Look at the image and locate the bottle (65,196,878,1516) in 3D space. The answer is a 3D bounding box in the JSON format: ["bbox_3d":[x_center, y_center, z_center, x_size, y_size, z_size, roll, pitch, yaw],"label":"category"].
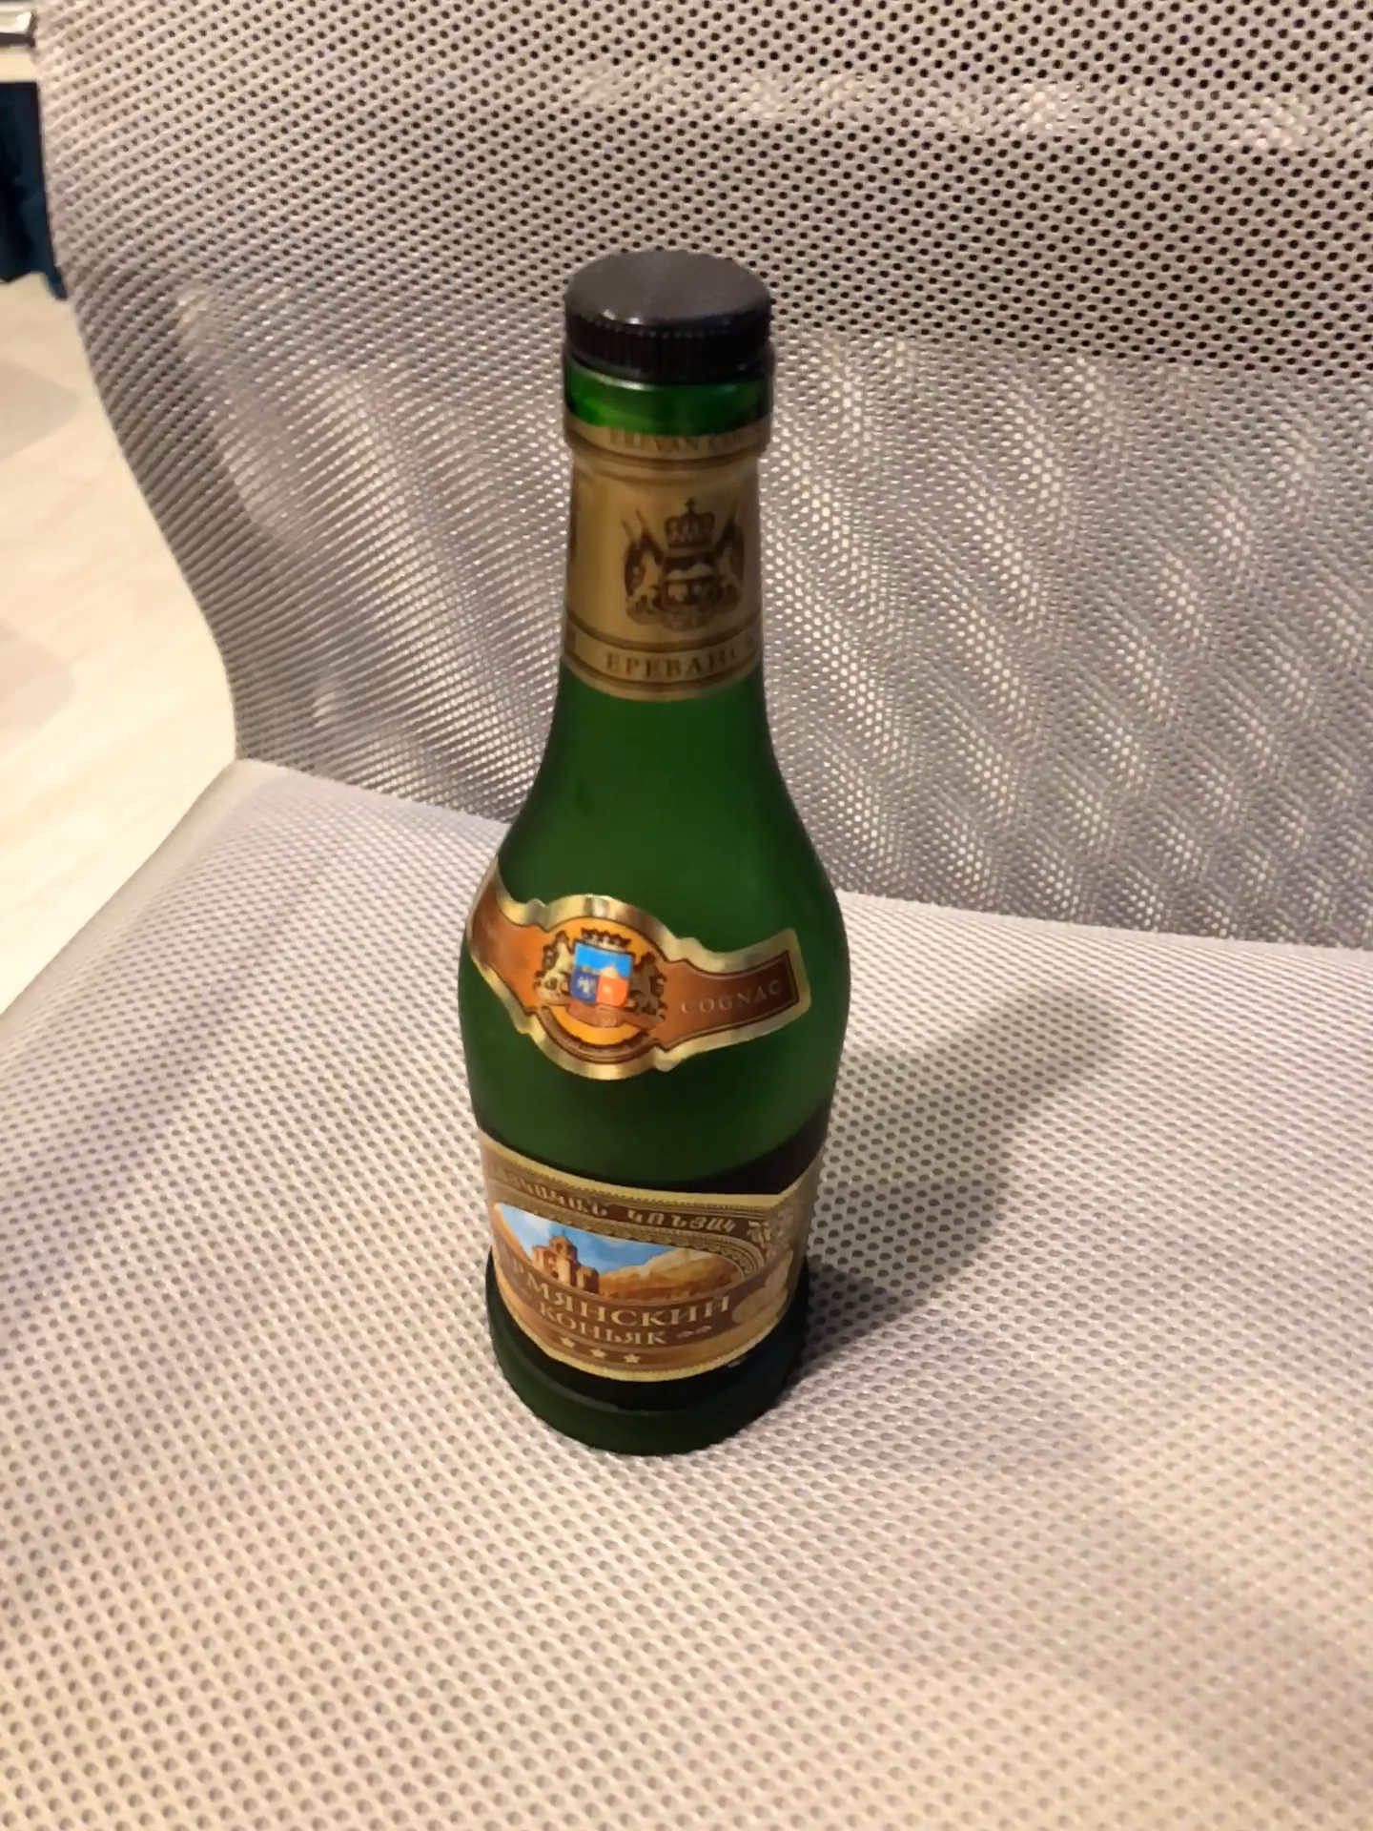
[{"bbox_3d":[-0.017,0.011,0.274,0.078,0.238,0.075,-2,45,2],"label":"bottle"}]
